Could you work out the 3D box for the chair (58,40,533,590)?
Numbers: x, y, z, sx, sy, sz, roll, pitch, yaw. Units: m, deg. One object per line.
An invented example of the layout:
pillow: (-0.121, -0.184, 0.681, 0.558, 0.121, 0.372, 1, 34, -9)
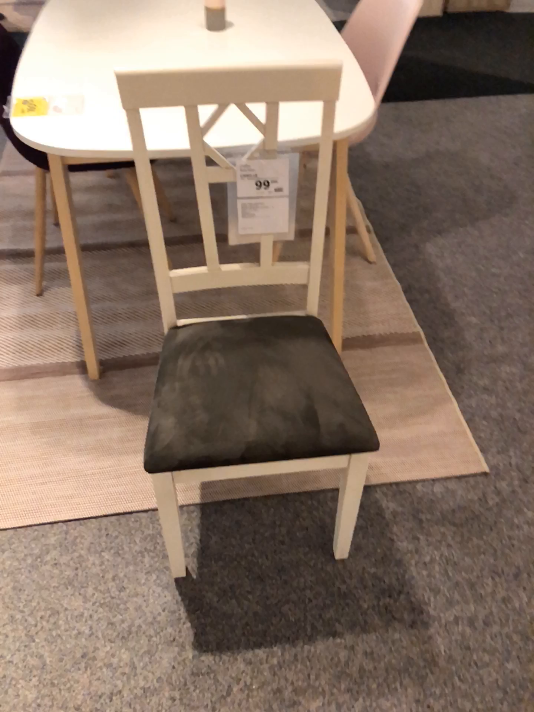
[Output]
chair: (0.002, -0.040, 1.121, 0.510, 0.855, 0.563, -5, 45, -5)
